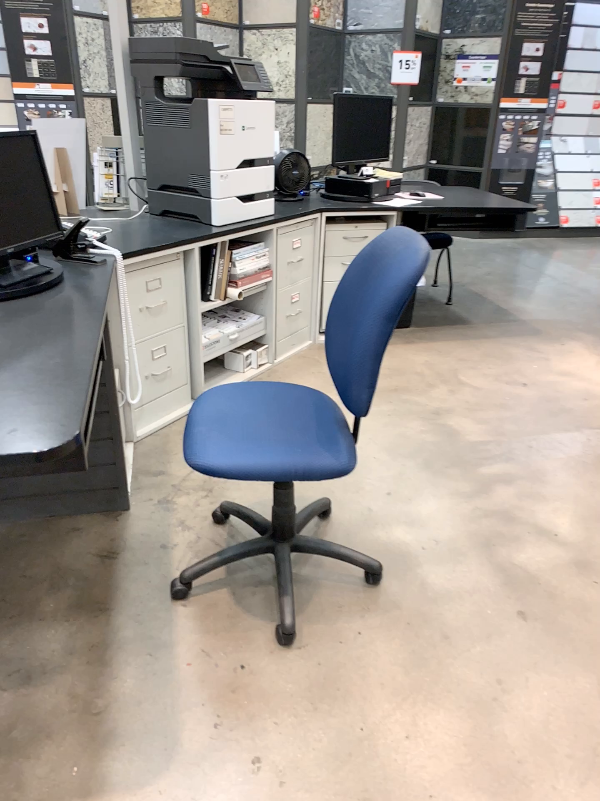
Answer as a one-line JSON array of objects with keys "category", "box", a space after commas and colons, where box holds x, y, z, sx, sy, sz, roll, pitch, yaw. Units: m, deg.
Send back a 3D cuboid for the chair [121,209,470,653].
[{"category": "chair", "box": [-0.043, 0.054, 1.715, 0.692, 1.036, 0.661, -1, 26, -5]}]
